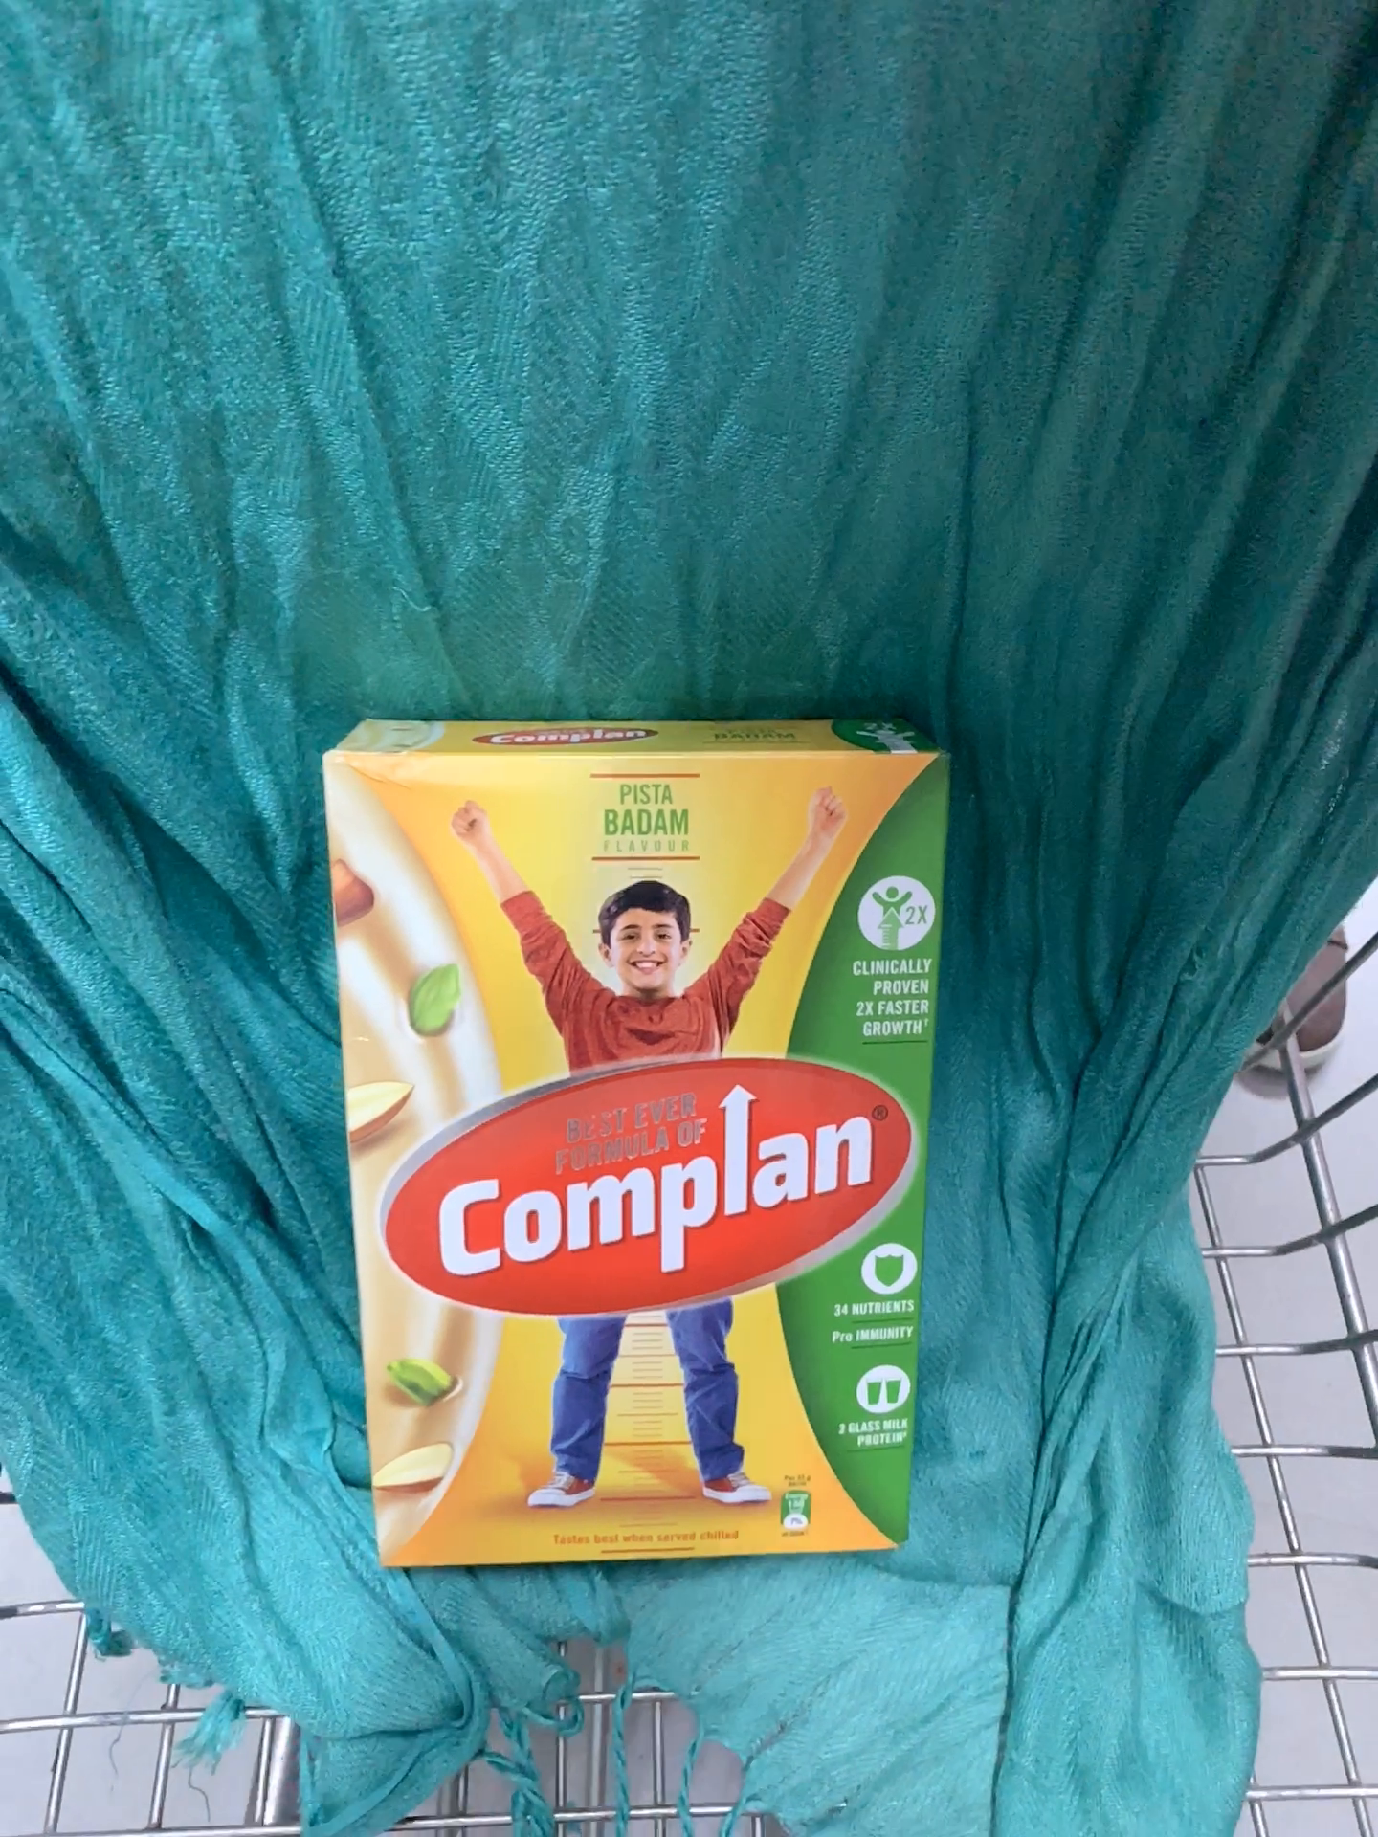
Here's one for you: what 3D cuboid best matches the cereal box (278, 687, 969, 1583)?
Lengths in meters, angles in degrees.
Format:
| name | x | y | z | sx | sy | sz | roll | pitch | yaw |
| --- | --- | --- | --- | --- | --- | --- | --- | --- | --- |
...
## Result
| name | x | y | z | sx | sy | sz | roll | pitch | yaw |
| --- | --- | --- | --- | --- | --- | --- | --- | --- | --- |
| cereal box | -0.012 | 0.050 | 0.341 | 0.140 | 0.060 | 0.200 | -2 | 104 | -3 |
